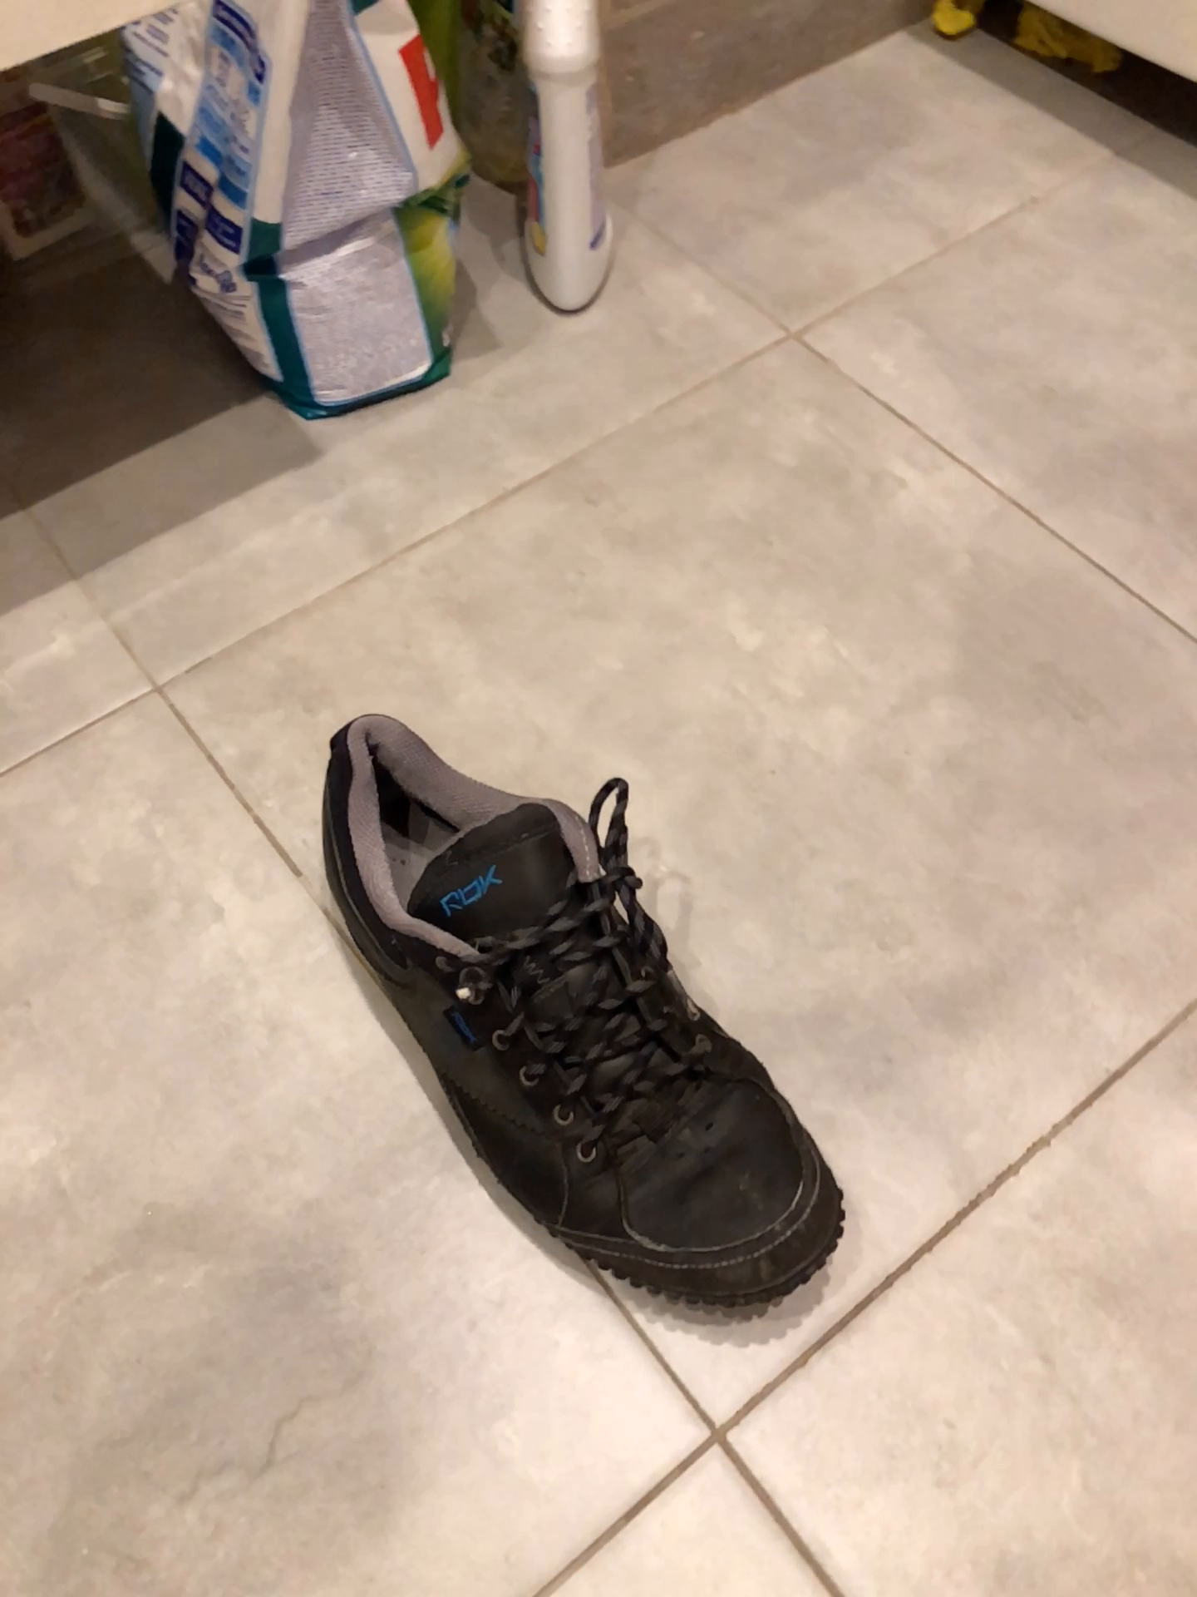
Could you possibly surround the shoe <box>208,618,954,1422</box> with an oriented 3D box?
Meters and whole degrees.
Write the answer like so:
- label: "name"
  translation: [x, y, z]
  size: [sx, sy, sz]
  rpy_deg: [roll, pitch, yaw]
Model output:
- label: "shoe"
  translation: [-0.016, 0.073, 0.486]
  size: [0.100, 0.109, 0.271]
  rpy_deg: [-36, 63, -19]
